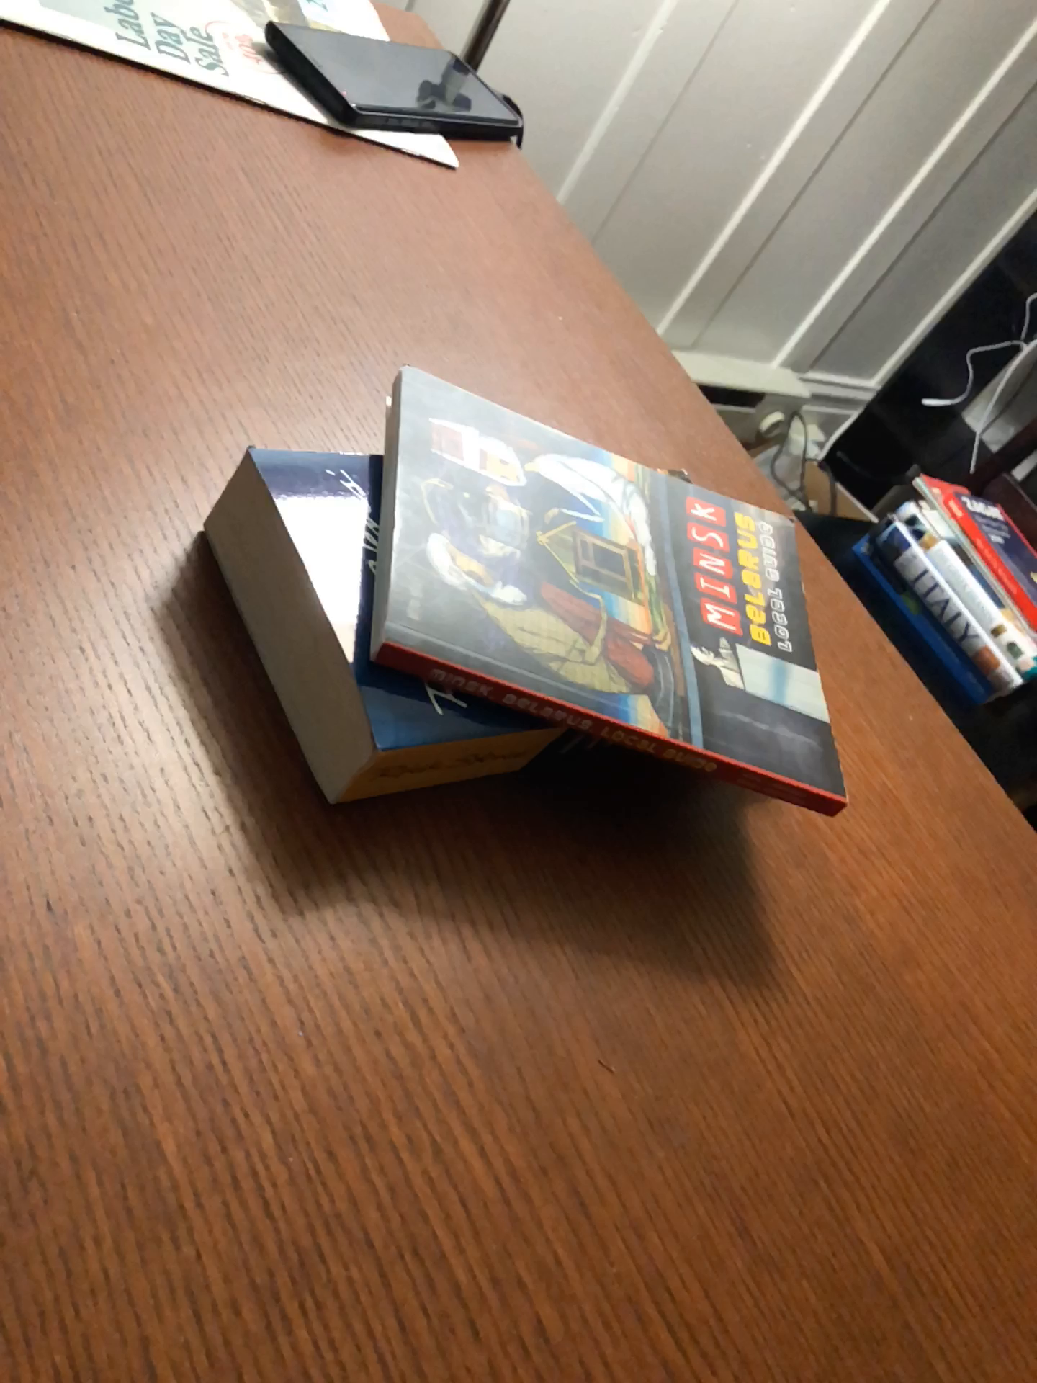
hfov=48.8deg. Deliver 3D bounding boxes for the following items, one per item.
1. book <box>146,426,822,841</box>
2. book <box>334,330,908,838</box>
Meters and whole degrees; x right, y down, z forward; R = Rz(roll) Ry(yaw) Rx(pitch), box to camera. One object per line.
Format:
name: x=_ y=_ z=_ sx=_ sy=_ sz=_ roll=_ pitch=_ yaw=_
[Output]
book: x=-0.004 y=-0.030 z=0.417 sx=0.221 sy=0.040 sz=0.130 roll=-7 pitch=57 yaw=-40
book: x=0.033 y=-0.038 z=0.391 sx=0.190 sy=0.020 sz=0.151 roll=17 pitch=44 yaw=-23
